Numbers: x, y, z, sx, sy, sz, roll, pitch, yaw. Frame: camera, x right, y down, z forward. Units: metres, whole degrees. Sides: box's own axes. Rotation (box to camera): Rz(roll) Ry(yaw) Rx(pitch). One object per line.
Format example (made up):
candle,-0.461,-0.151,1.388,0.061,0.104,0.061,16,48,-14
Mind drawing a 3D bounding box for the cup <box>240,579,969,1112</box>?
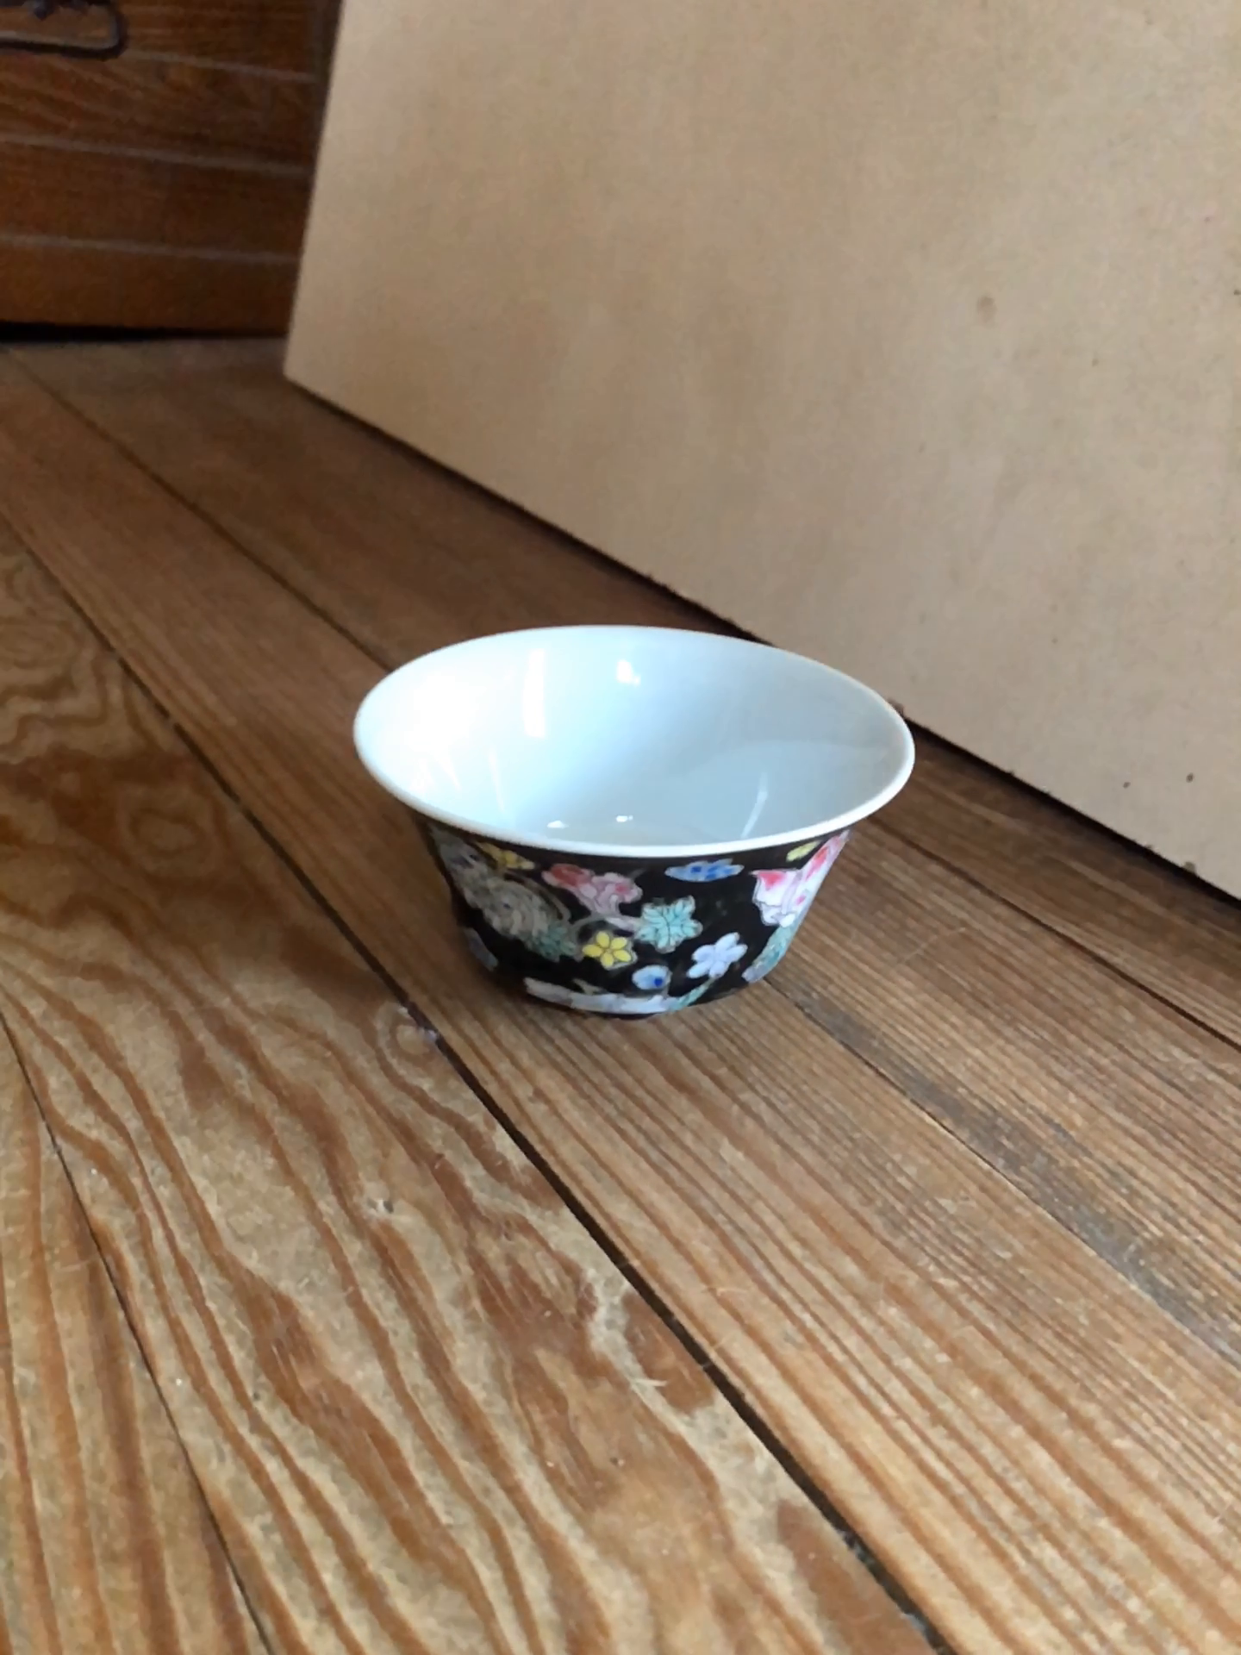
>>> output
cup,0.003,-0.005,0.270,0.110,0.040,0.101,3,30,-2
